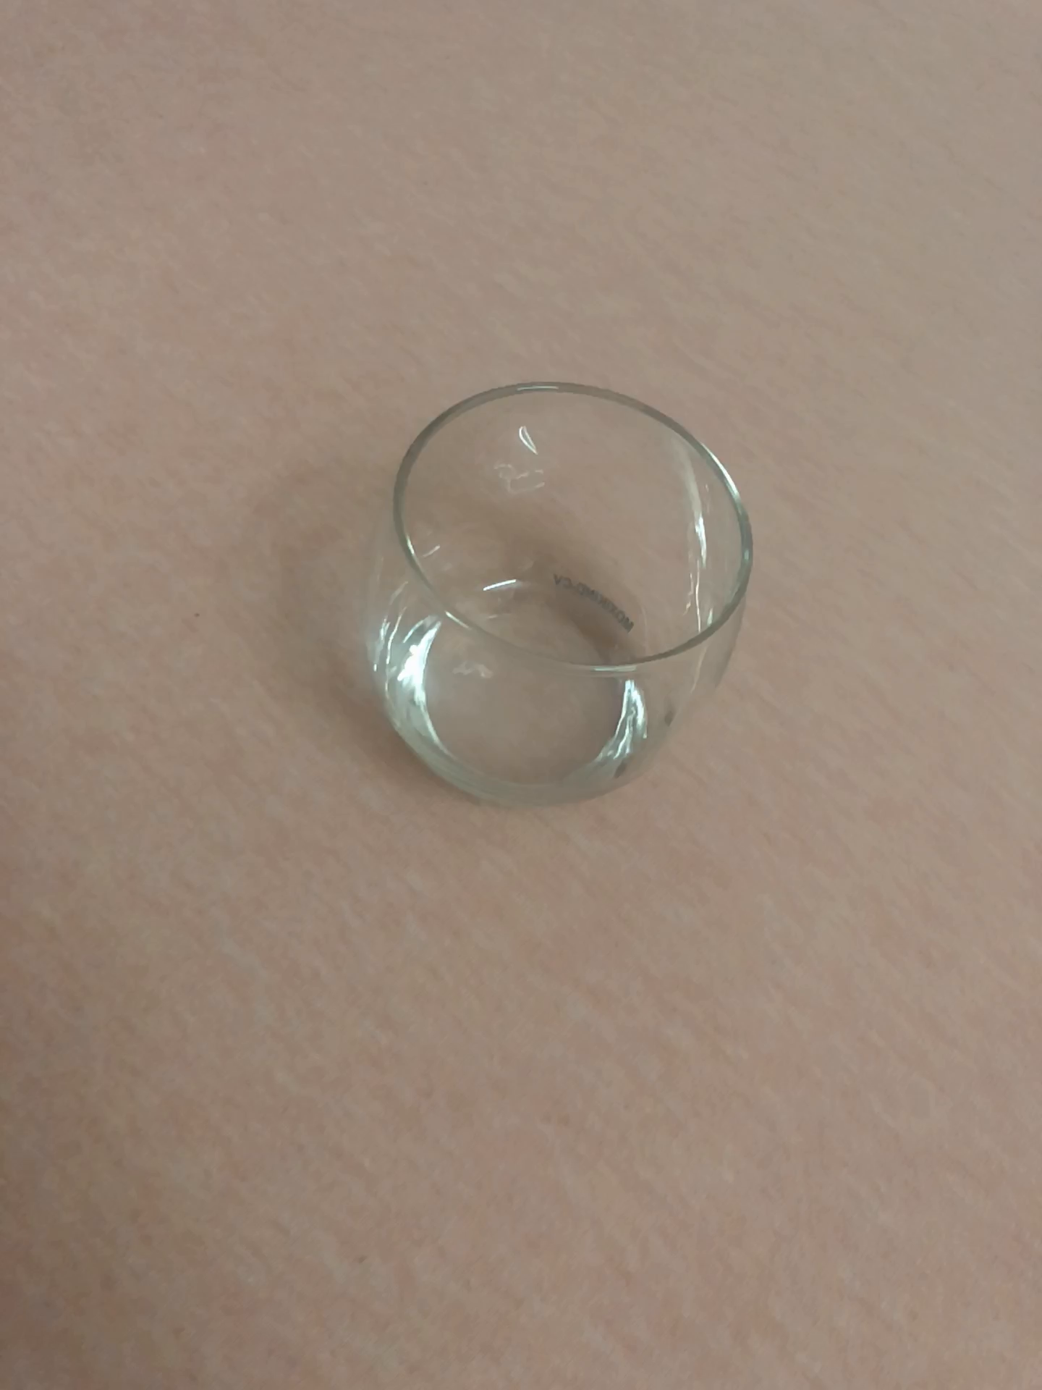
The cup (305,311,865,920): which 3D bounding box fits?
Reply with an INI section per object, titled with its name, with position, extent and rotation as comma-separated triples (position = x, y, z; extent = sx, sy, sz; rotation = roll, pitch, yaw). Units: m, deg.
[cup]
position = 0.007, -0.018, 0.301
extent = 0.090, 0.100, 0.090
rotation = 5, 59, -8
